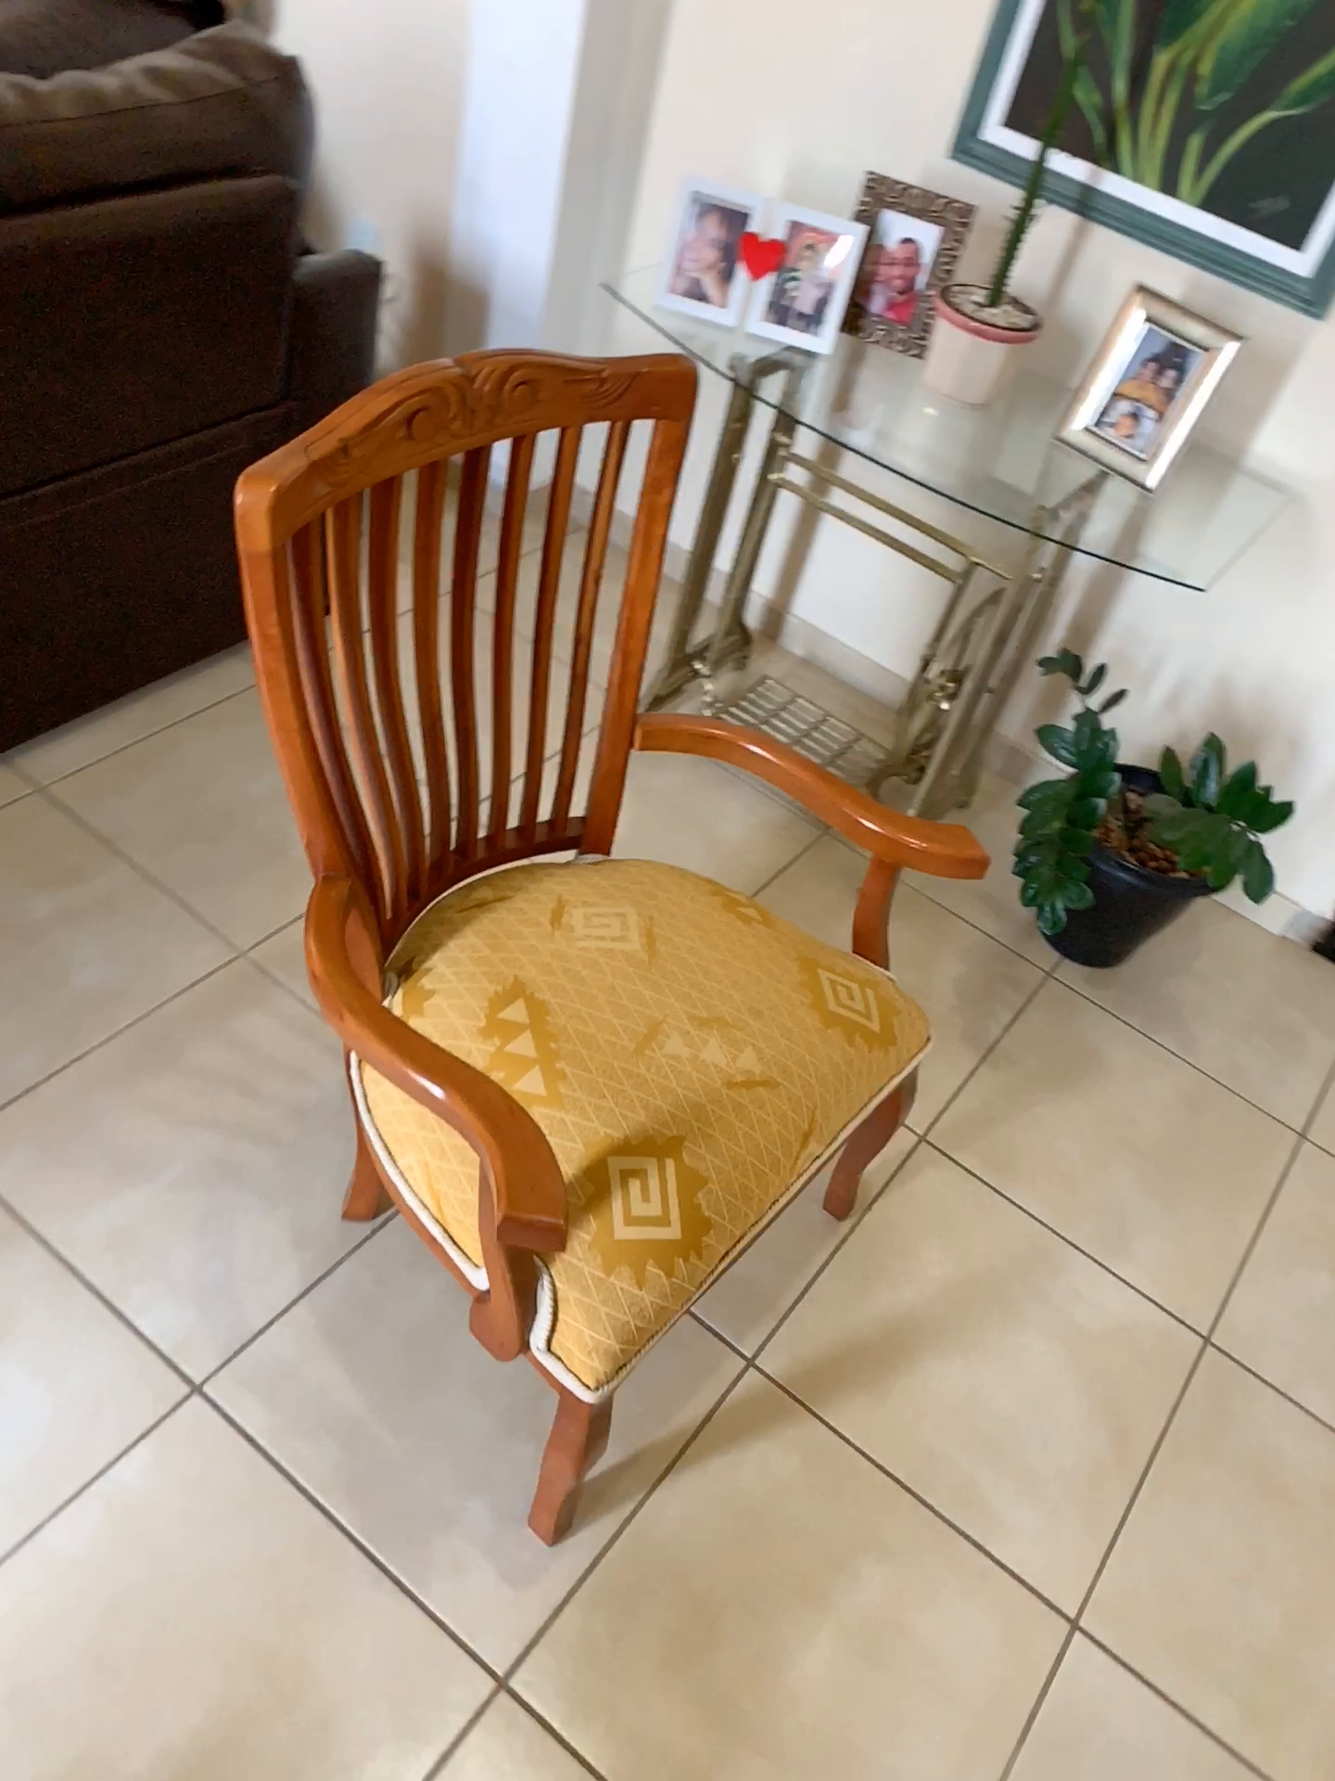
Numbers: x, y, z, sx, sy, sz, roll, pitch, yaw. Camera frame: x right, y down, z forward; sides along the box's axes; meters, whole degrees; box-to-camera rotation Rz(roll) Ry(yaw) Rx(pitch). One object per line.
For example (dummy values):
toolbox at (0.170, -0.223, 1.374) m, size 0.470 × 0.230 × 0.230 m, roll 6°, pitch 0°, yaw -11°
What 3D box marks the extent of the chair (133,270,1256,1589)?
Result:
chair at (-0.045, 0.058, 1.381) m, size 0.630 × 1.014 × 0.623 m, roll 36°, pitch 46°, yaw 20°
